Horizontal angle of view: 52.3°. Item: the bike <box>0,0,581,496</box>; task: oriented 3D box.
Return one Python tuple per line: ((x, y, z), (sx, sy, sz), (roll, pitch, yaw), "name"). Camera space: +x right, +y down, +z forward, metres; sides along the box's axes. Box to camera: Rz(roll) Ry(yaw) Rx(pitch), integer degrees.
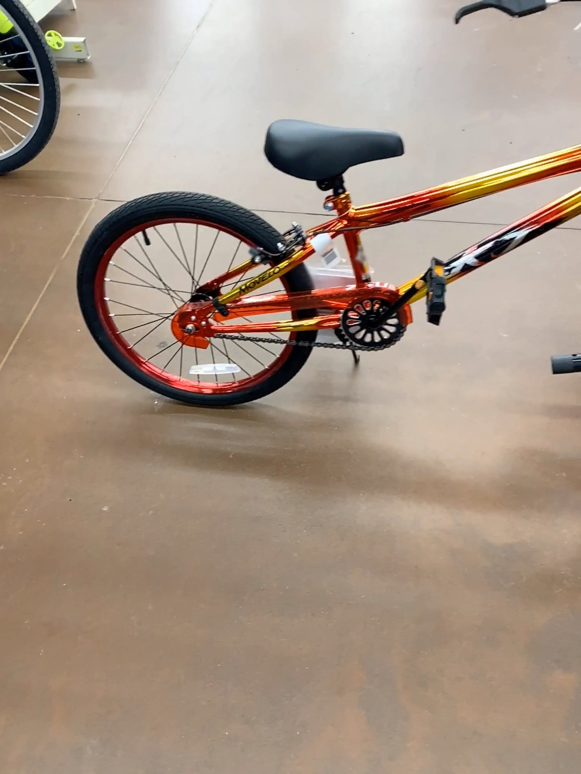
((0.149, -0.416, 1.045), (1.122, 0.926, 0.706), (-3, 50, 0), "bike")
